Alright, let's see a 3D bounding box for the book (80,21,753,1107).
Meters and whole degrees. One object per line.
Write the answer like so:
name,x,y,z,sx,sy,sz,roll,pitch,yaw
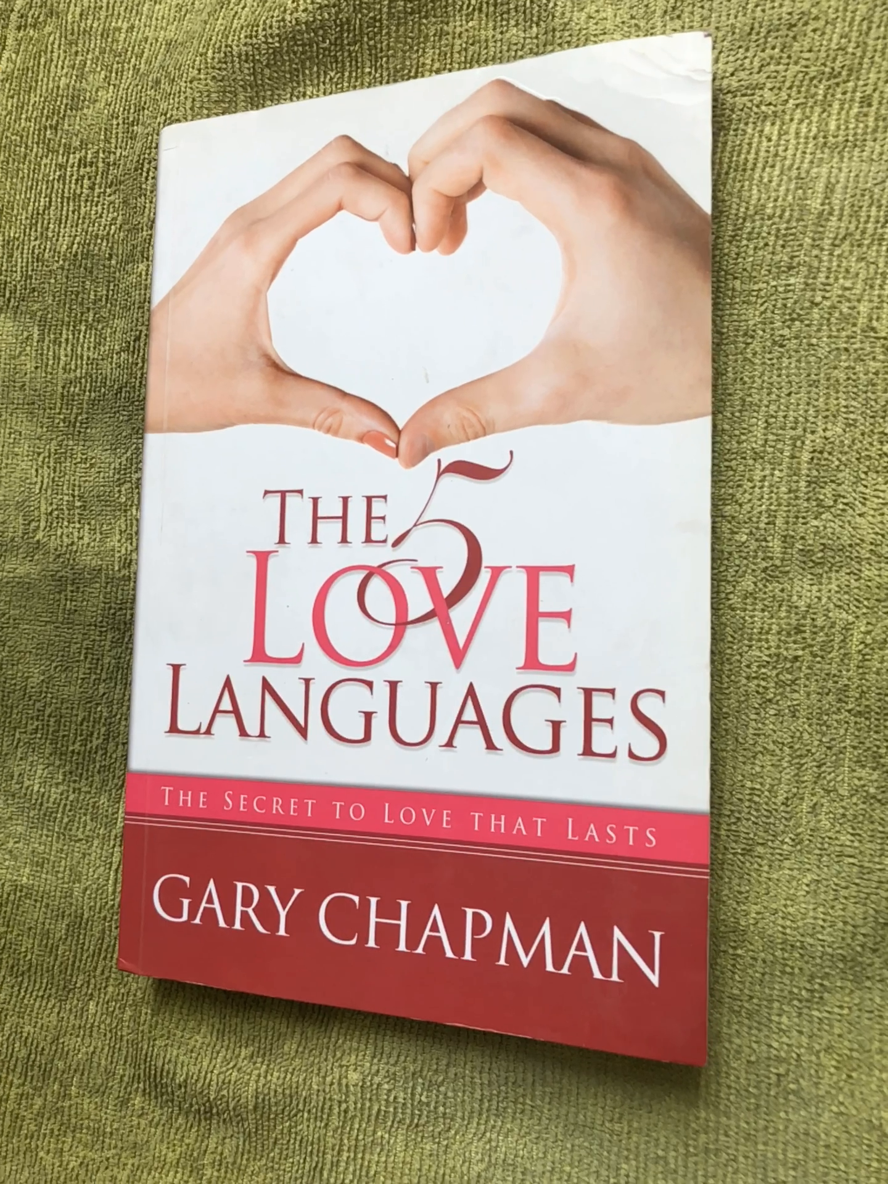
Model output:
book,-0.006,-0.009,0.217,0.140,0.030,0.200,0,85,19
